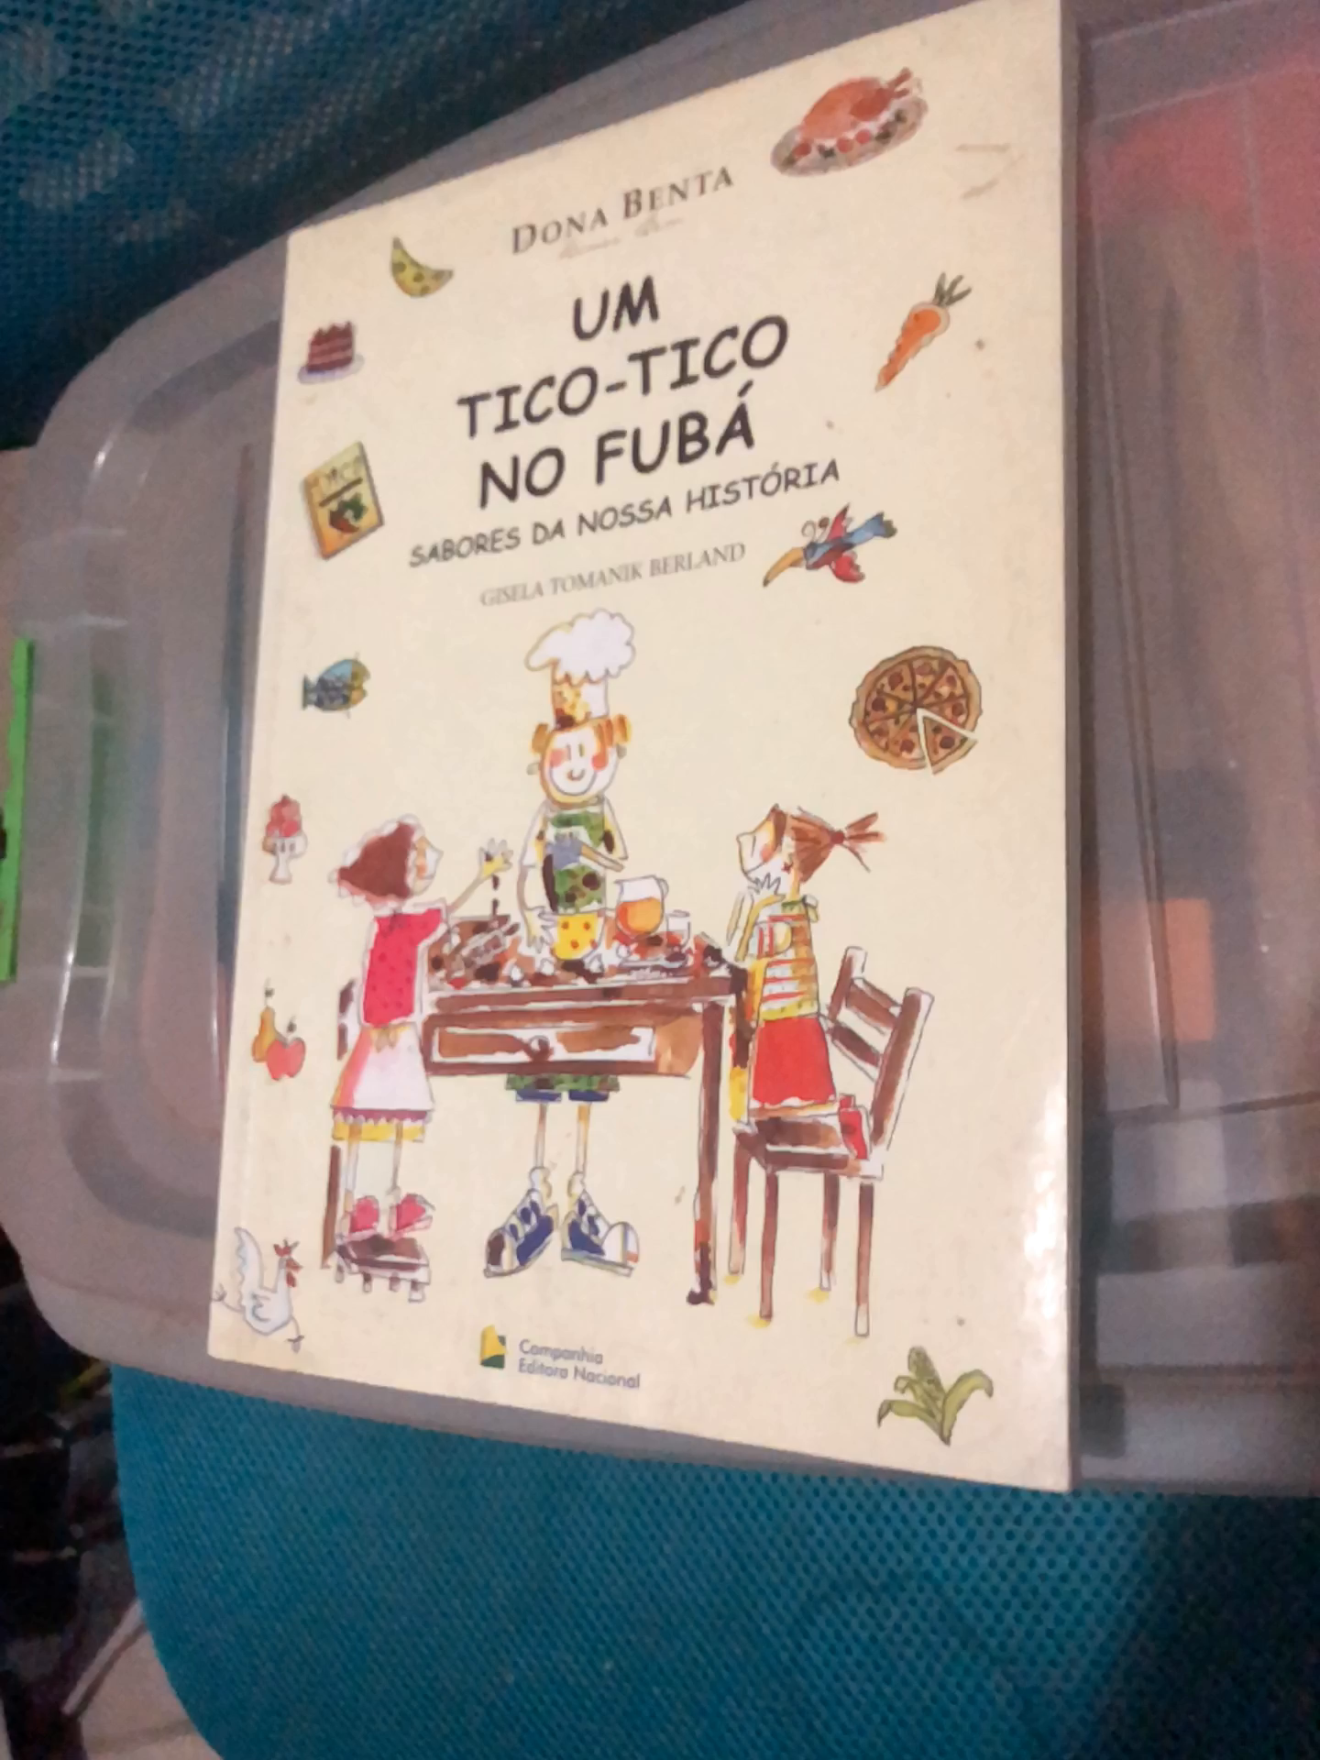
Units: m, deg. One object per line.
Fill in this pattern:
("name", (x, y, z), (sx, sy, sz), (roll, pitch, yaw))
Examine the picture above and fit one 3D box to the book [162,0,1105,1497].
("book", (-0.012, -0.026, 0.266), (0.172, 0.020, 0.232), (-3, 81, 28))
